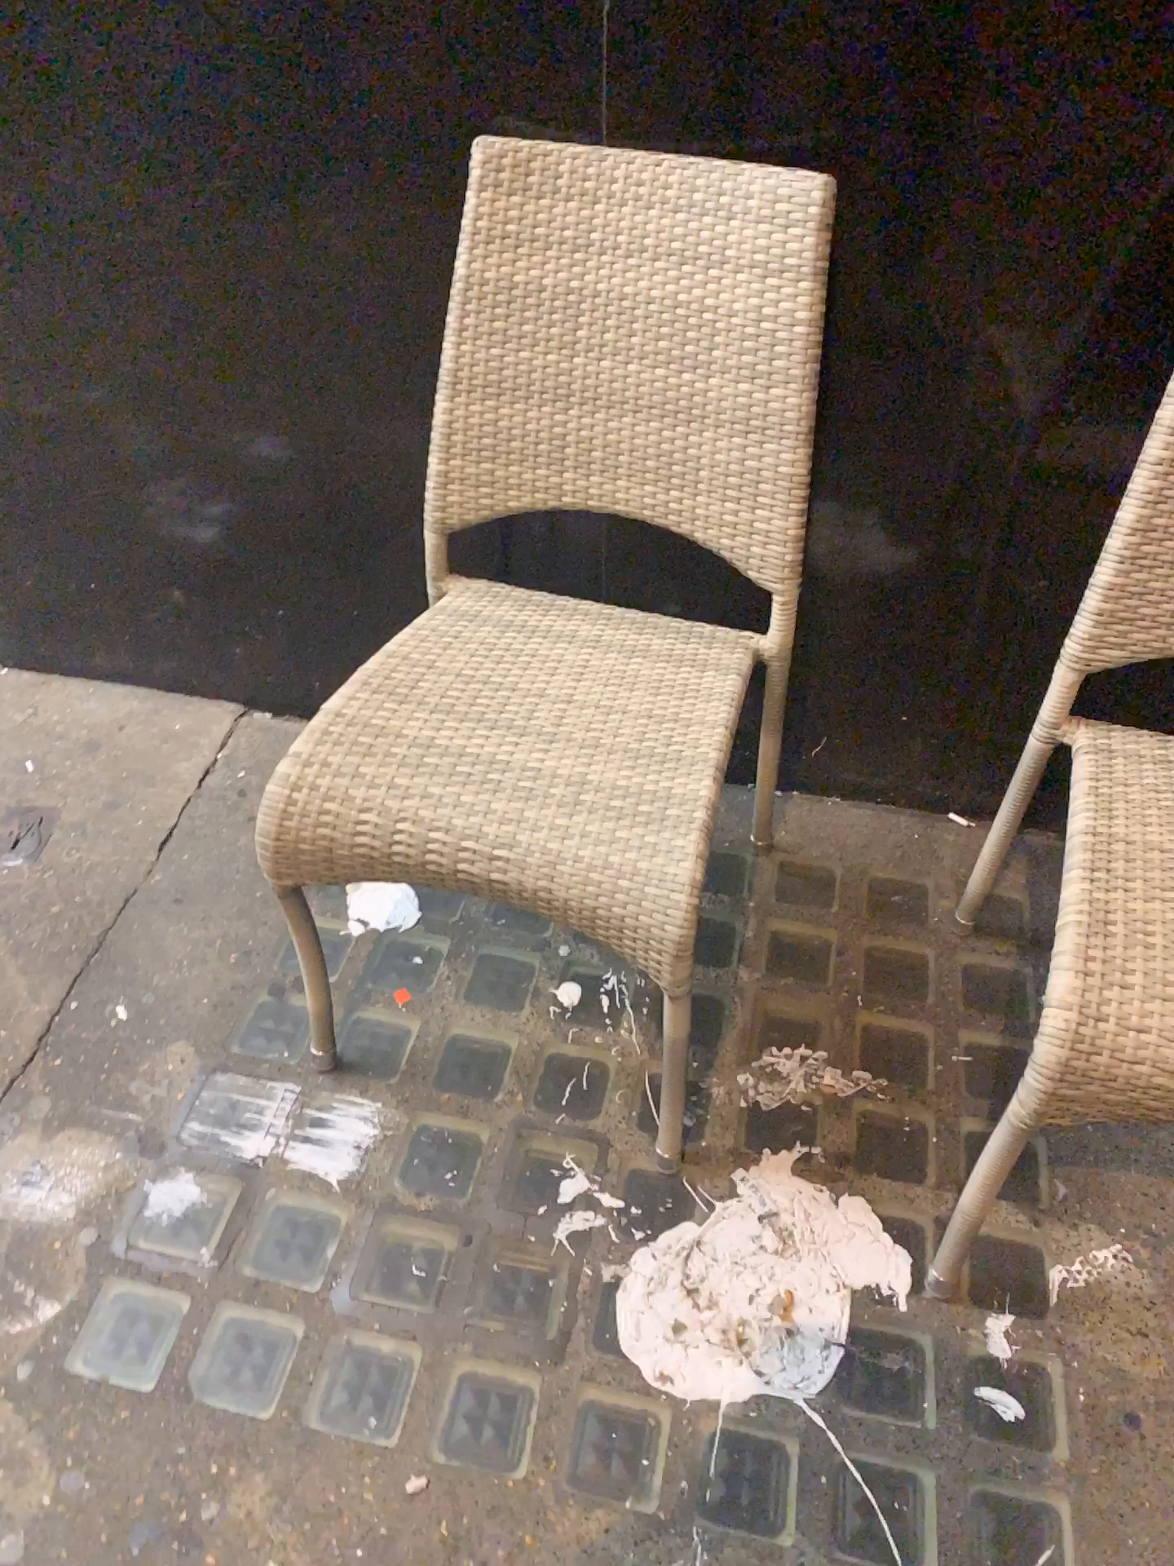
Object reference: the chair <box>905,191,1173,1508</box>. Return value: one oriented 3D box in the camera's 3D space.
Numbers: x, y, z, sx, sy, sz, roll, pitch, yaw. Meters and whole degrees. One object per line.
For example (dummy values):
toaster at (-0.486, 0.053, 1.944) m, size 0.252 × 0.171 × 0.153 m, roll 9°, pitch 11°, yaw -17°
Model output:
chair at (0.707, 0.030, 1.087) m, size 0.581 × 0.902 × 0.605 m, roll 13°, pitch 36°, yaw 15°

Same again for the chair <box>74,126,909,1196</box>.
chair at (-0.018, -0.124, 1.239) m, size 0.480 × 0.832 × 0.615 m, roll 12°, pitch 44°, yaw 14°
